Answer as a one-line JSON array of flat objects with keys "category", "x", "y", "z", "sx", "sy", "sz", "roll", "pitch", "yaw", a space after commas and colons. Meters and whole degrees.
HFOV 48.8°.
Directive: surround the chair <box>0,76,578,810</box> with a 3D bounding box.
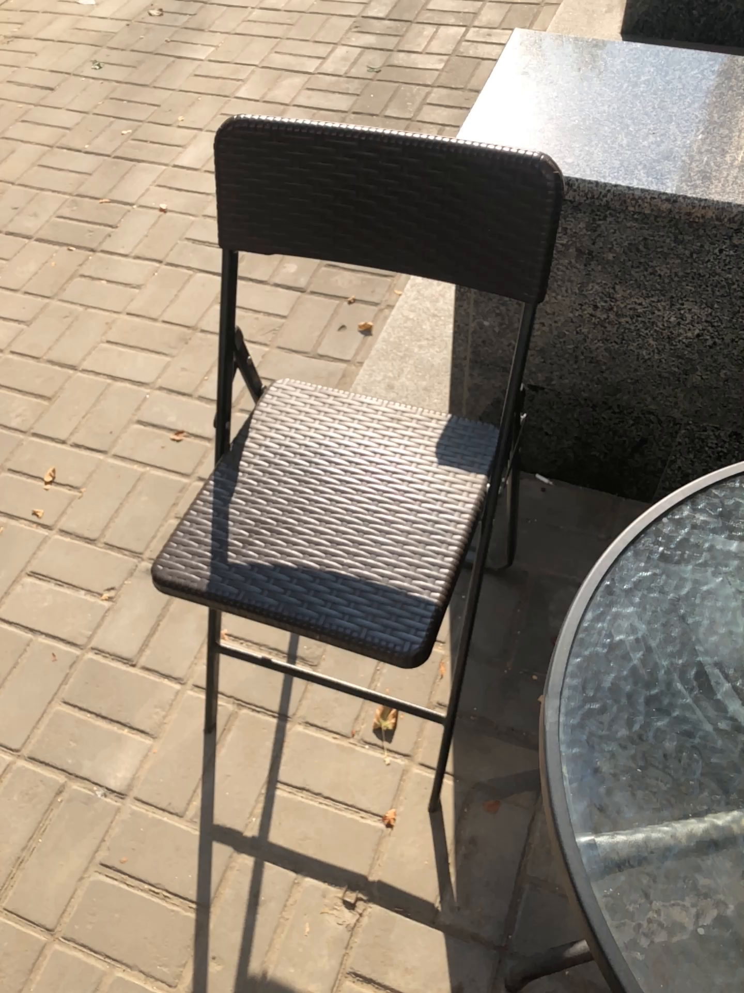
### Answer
[{"category": "chair", "x": -0.055, "y": -0.006, "z": 1.052, "sx": 0.430, "sy": 0.788, "sz": 0.461, "roll": 14, "pitch": 55, "yaw": 13}]
